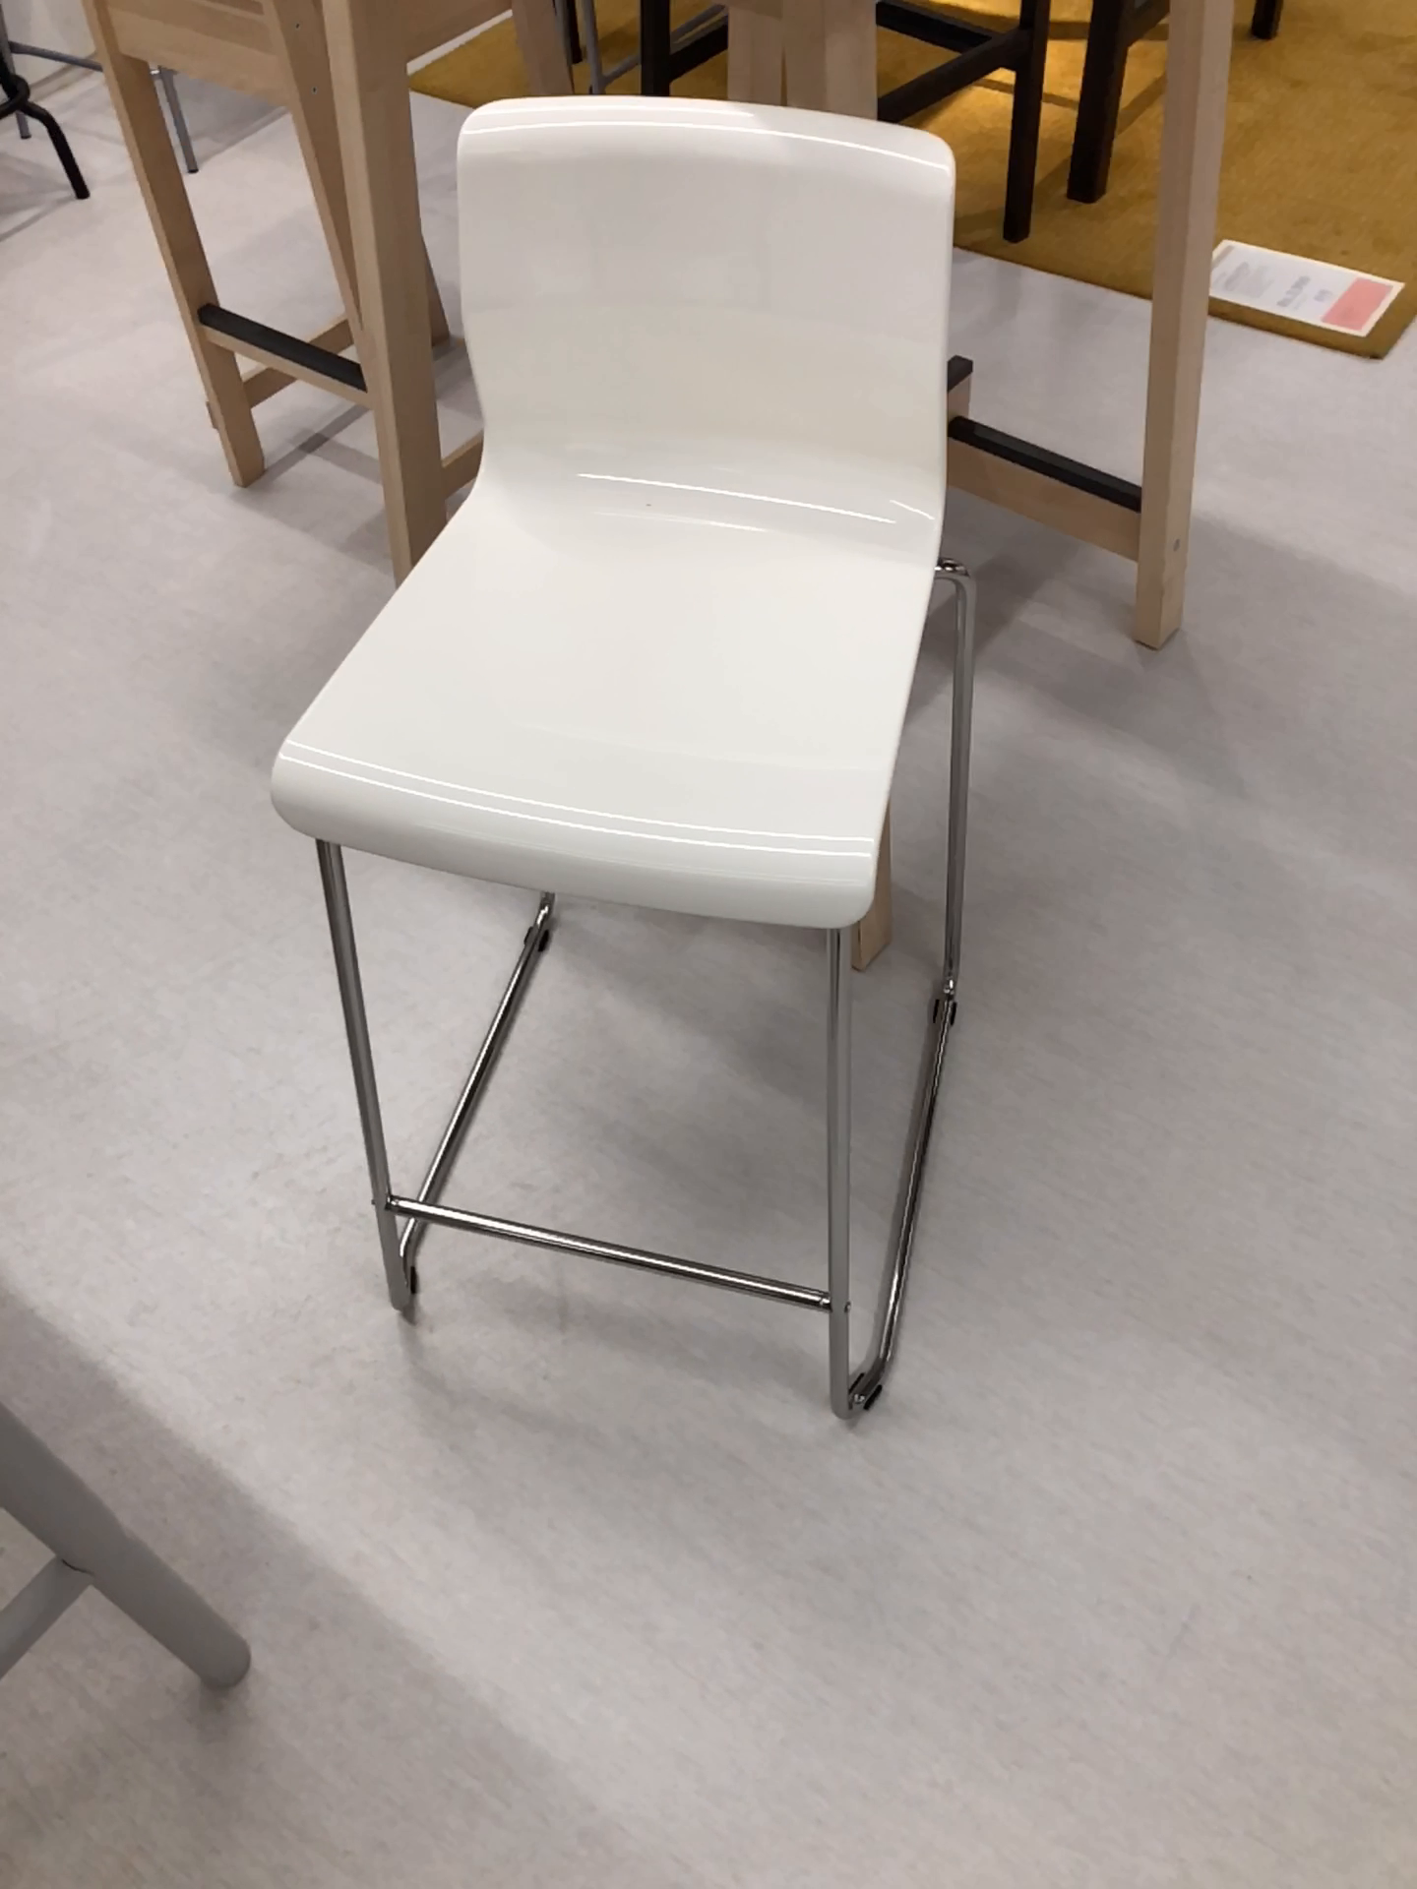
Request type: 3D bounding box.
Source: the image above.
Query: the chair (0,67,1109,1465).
[{"bbox_3d":[-0.042,-0.082,1.155,0.500,0.825,0.553,9,53,10],"label":"chair"}]
